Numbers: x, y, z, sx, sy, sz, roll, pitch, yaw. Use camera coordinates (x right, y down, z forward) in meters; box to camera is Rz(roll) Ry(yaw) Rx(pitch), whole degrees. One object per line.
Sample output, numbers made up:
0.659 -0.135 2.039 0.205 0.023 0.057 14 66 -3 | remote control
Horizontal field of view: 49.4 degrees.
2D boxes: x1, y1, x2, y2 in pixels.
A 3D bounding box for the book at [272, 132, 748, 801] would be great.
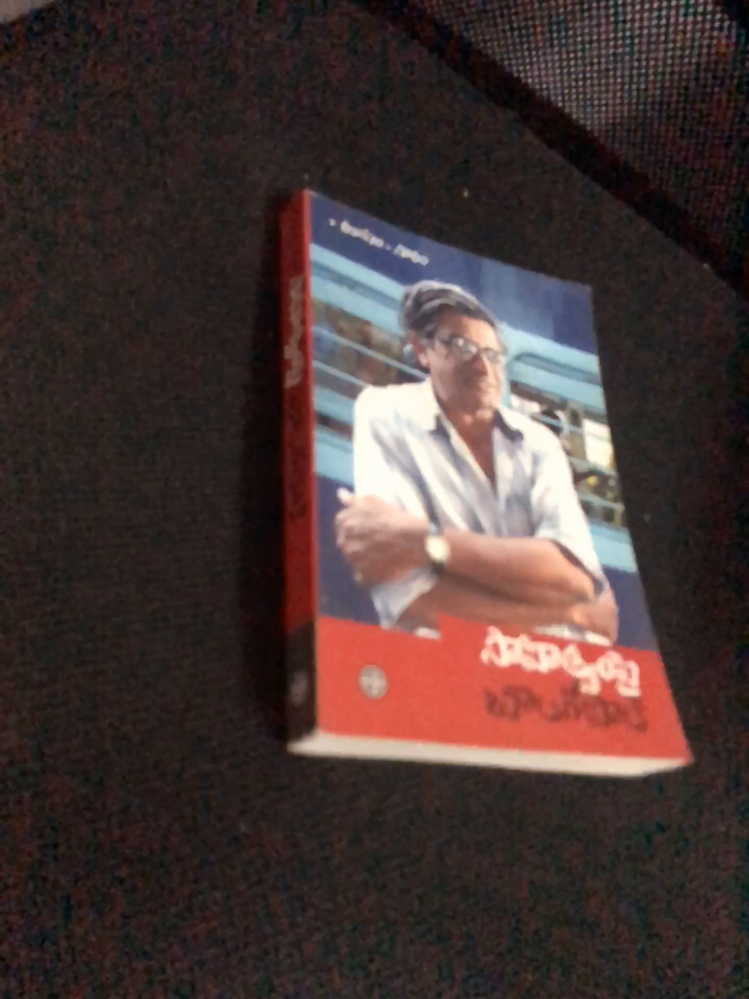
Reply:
0.041 -0.016 0.290 0.153 0.030 0.225 13 57 -27 | book
